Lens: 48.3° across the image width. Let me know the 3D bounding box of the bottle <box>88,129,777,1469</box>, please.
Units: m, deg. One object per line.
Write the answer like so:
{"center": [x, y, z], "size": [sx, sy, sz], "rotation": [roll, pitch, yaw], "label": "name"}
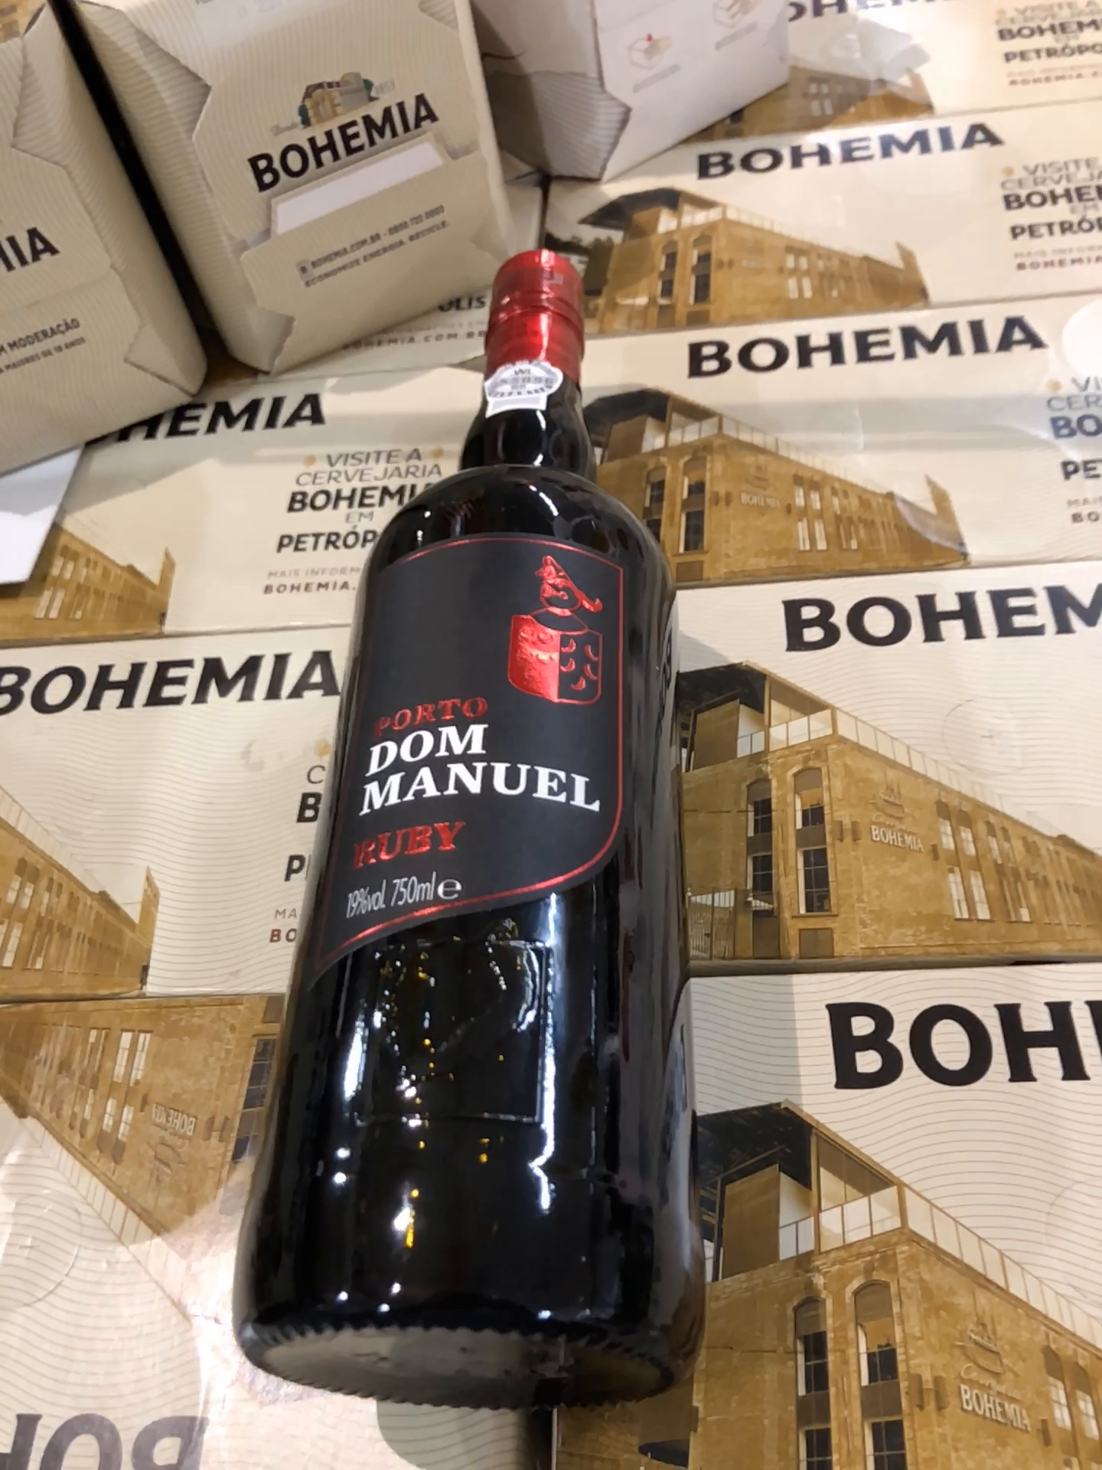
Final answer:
{"center": [-0.011, -0.021, 0.286], "size": [0.090, 0.070, 0.332], "rotation": [0, 54, 2], "label": "bottle"}
